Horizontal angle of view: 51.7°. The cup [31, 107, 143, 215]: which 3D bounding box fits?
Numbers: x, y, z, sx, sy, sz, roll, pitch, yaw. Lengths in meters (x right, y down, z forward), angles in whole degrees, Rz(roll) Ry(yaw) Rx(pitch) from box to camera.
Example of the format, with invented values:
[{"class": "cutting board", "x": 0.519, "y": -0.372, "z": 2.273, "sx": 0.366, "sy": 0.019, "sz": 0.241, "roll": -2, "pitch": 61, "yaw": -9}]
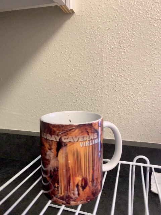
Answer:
[{"class": "cup", "x": 0.002, "y": 0.054, "z": 0.216, "sx": 0.120, "sy": 0.090, "sz": 0.080, "roll": -4, "pitch": 10, "yaw": -19}]
